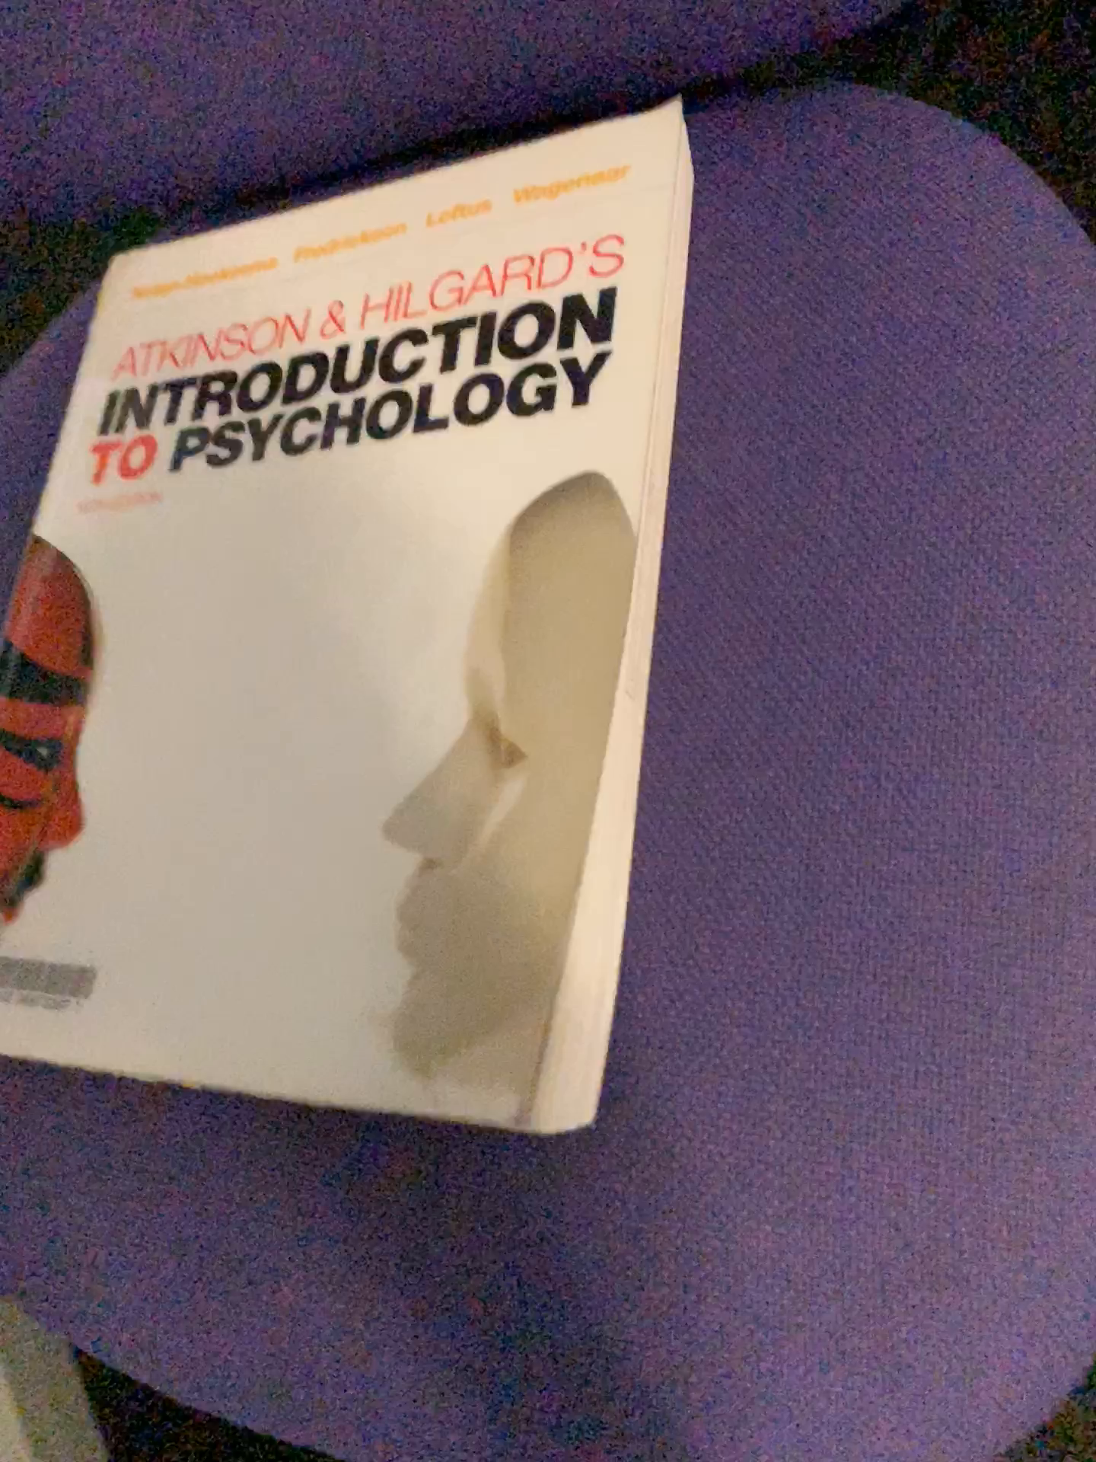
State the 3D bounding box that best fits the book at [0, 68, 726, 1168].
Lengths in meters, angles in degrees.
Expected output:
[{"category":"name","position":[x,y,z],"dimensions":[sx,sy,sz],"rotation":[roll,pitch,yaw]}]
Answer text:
[{"category":"book","position":[-0.073,-0.042,0.323],"dimensions":[0.223,0.035,0.283],"rotation":[-1,68,26]}]
